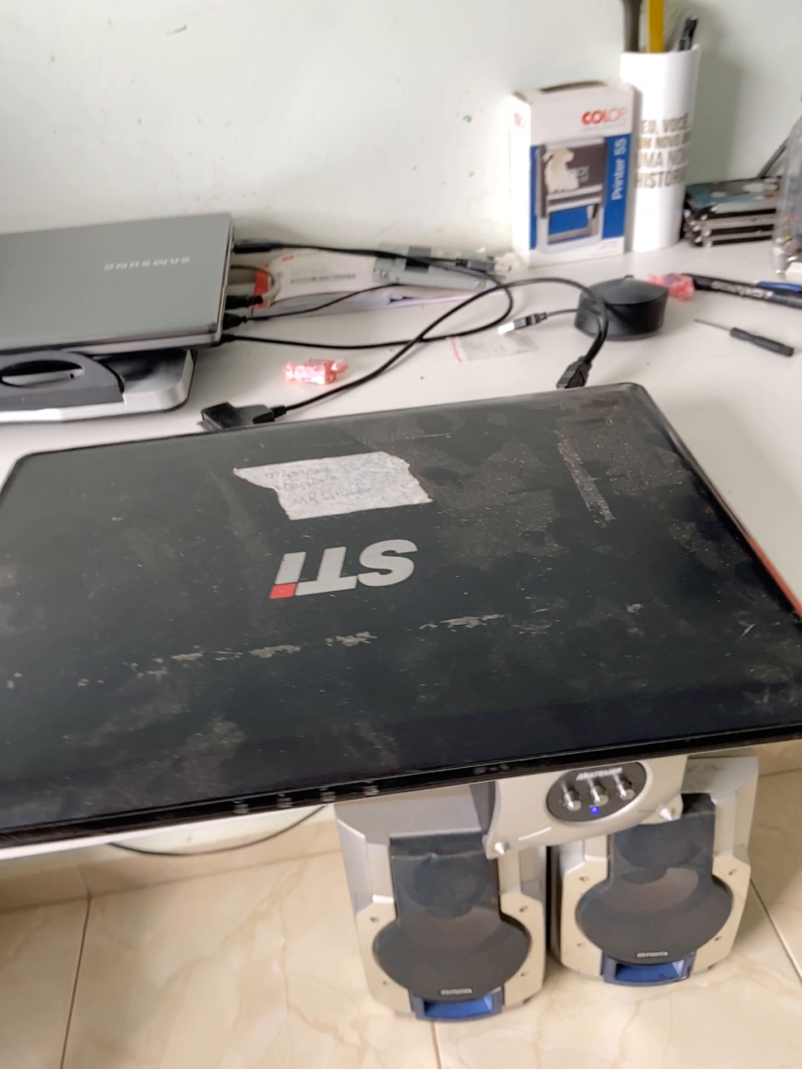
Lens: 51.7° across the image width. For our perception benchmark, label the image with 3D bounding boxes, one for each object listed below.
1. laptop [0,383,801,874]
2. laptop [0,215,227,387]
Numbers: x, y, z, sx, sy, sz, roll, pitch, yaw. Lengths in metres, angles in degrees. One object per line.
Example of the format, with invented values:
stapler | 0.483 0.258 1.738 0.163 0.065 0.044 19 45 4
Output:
laptop | -0.024 0.013 0.361 0.337 0.011 0.231 -7 39 -2
laptop | -0.297 -0.176 0.584 0.343 0.006 0.229 -8 37 -7
